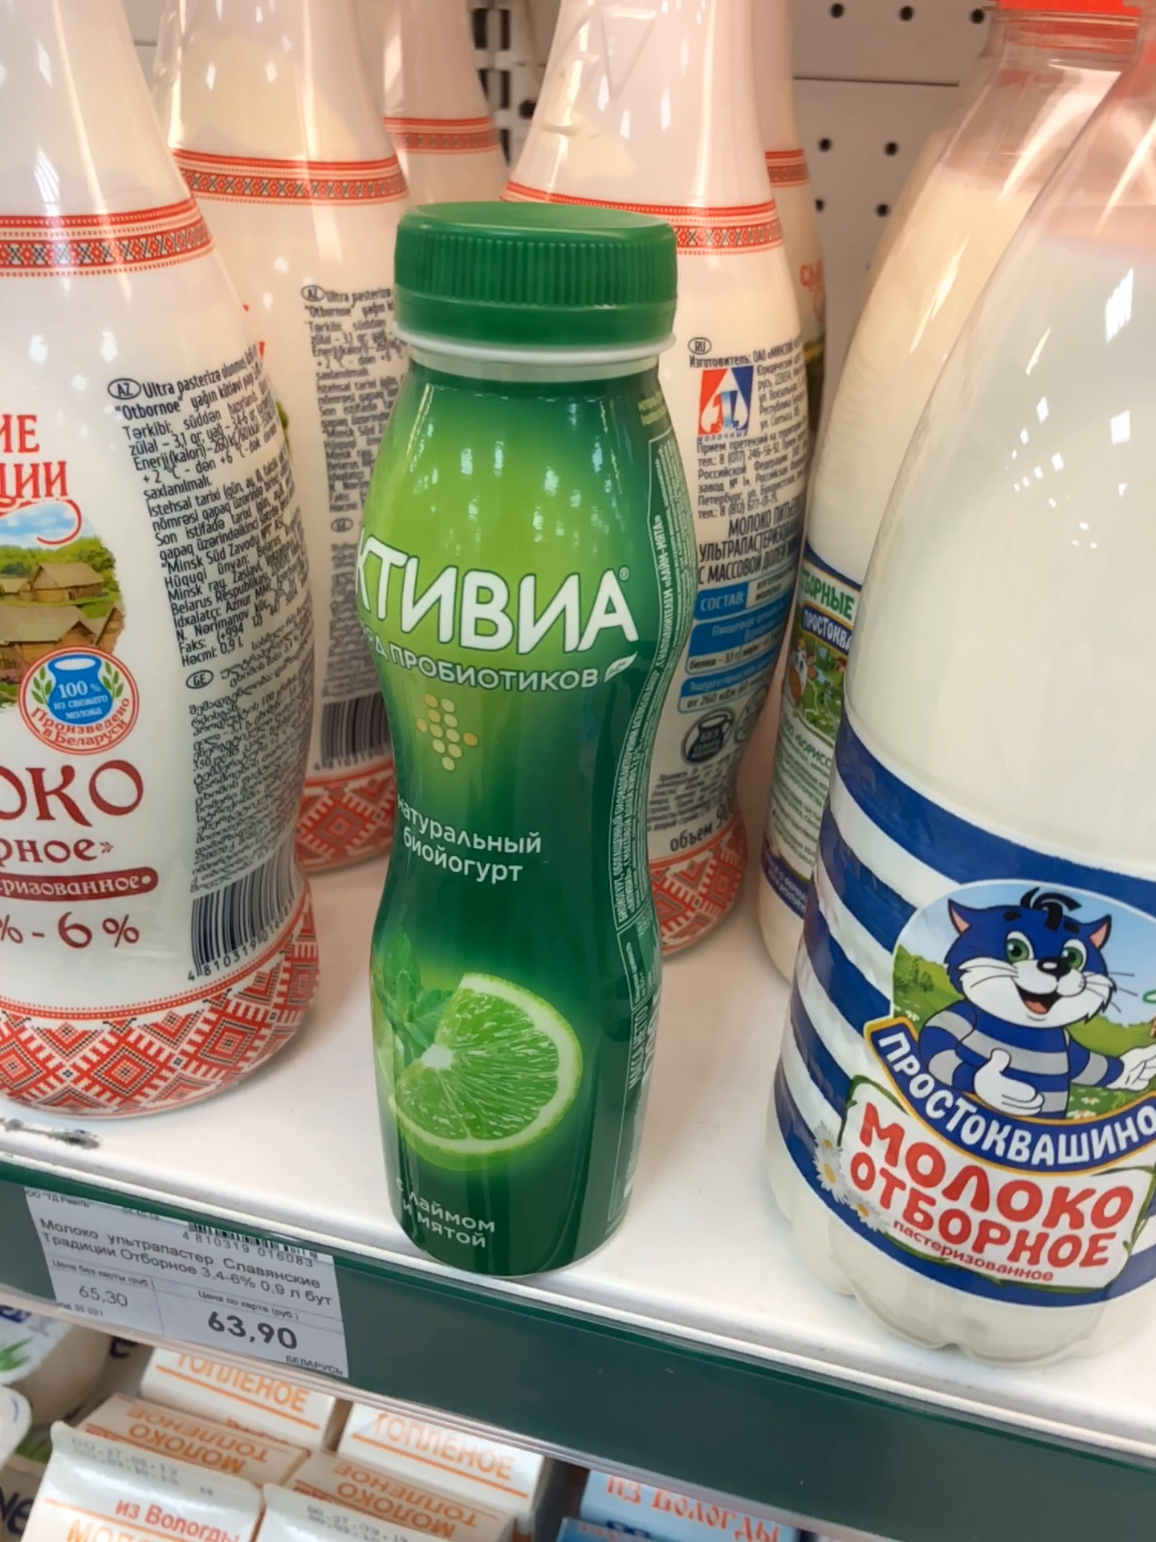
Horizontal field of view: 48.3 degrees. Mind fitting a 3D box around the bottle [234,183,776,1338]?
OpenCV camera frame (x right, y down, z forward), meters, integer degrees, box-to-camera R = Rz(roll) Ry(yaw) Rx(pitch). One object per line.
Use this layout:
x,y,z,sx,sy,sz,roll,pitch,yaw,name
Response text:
-0.012,0.004,0.215,0.053,0.179,0.052,2,29,-1,bottle
